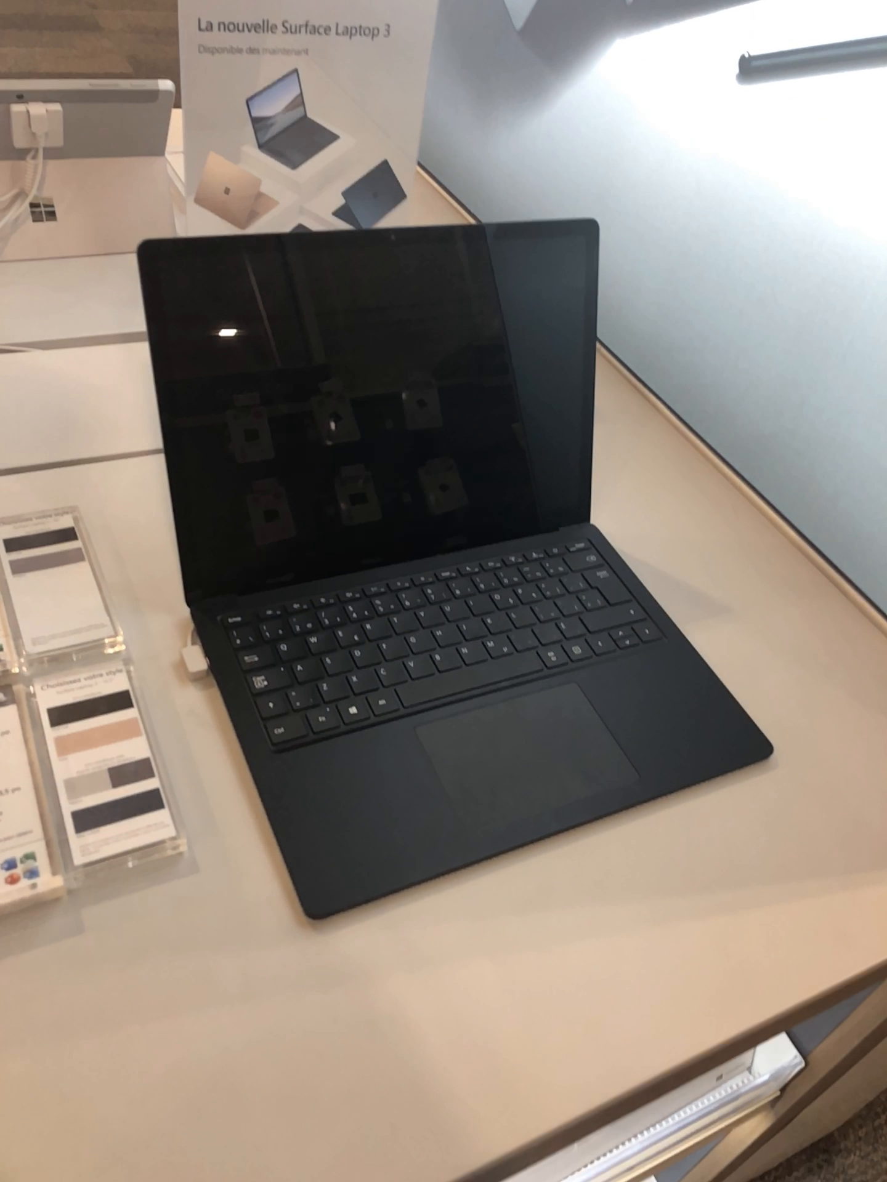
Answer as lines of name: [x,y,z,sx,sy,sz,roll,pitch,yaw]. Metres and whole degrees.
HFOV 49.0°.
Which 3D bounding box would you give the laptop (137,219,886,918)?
laptop: [0.020,-0.048,0.569,0.309,0.197,0.314,-12,48,-25]
